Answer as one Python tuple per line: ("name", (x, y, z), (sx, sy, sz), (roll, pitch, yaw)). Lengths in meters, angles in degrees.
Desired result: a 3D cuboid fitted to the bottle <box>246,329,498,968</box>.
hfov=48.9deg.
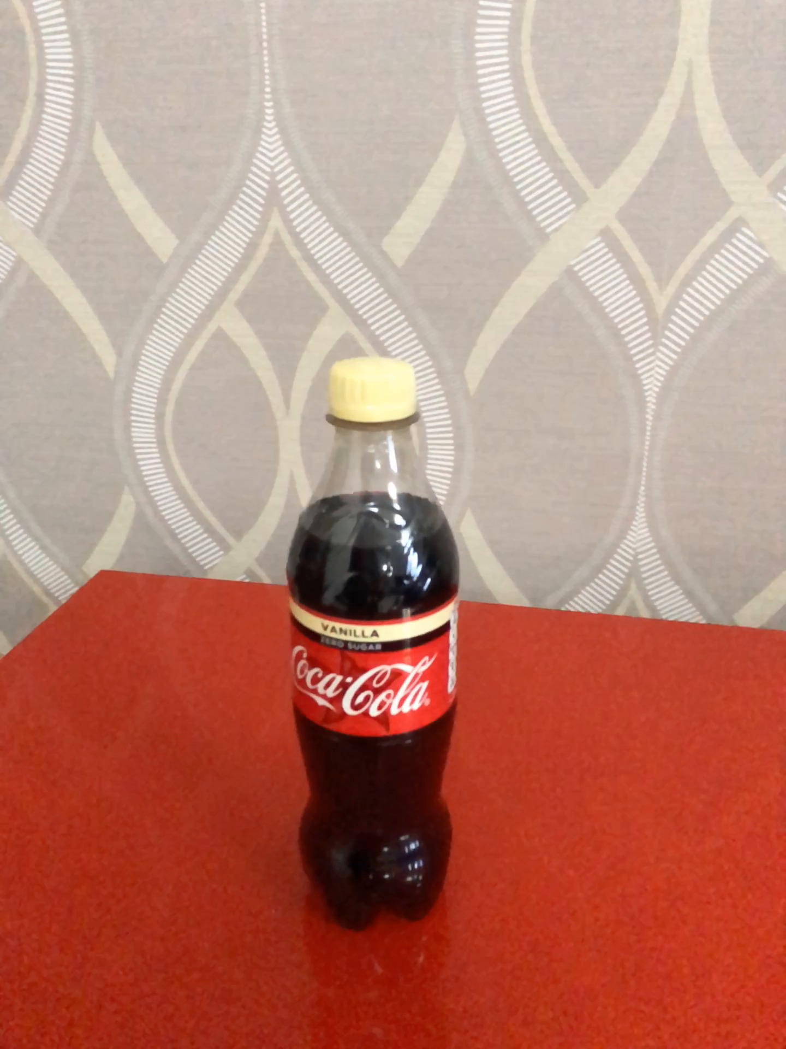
("bottle", (-0.003, 0.050, 0.349), (0.070, 0.238, 0.081), (5, 23, 13))
